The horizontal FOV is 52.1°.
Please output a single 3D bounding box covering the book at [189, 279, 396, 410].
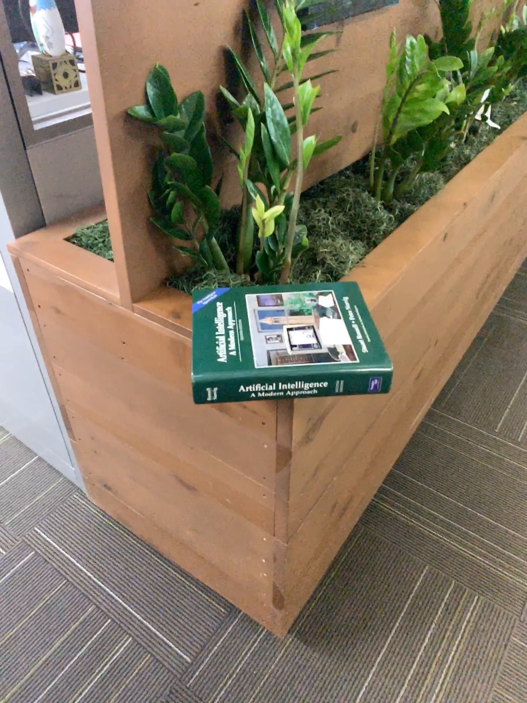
[{"bbox_3d":[0.028,-0.019,0.766,0.260,0.050,0.211,-4,40,-4],"label":"book"}]
